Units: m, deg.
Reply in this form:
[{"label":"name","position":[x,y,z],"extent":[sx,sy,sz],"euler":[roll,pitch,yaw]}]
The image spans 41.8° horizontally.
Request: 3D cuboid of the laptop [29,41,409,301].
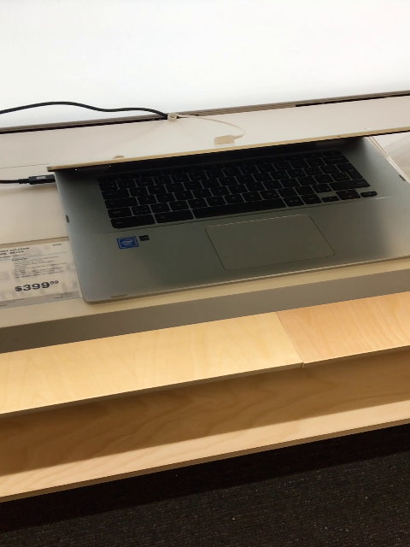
[{"label":"laptop","position":[0.050,-0.119,0.566],"extent":[0.405,0.133,0.220],"euler":[-9,50,-9]}]
